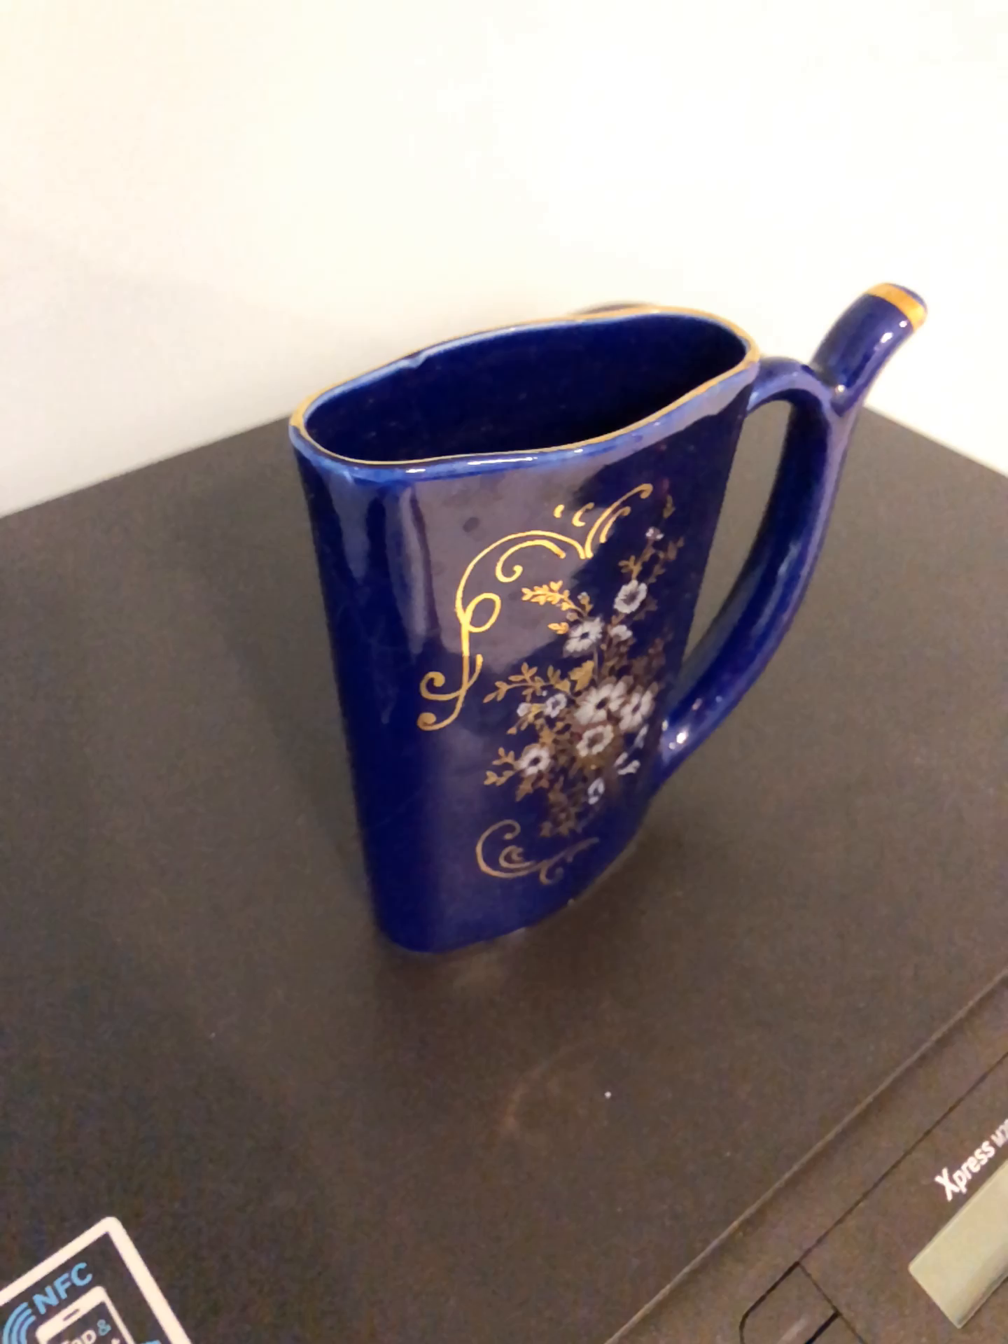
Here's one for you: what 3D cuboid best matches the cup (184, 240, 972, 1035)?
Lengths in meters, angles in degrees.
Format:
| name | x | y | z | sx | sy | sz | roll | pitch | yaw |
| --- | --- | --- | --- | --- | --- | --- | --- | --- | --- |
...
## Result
| name | x | y | z | sx | sy | sz | roll | pitch | yaw |
| --- | --- | --- | --- | --- | --- | --- | --- | --- | --- |
| cup | 0.017 | -0.010 | 0.226 | 0.130 | 0.109 | 0.050 | -26 | 49 | -27 |
